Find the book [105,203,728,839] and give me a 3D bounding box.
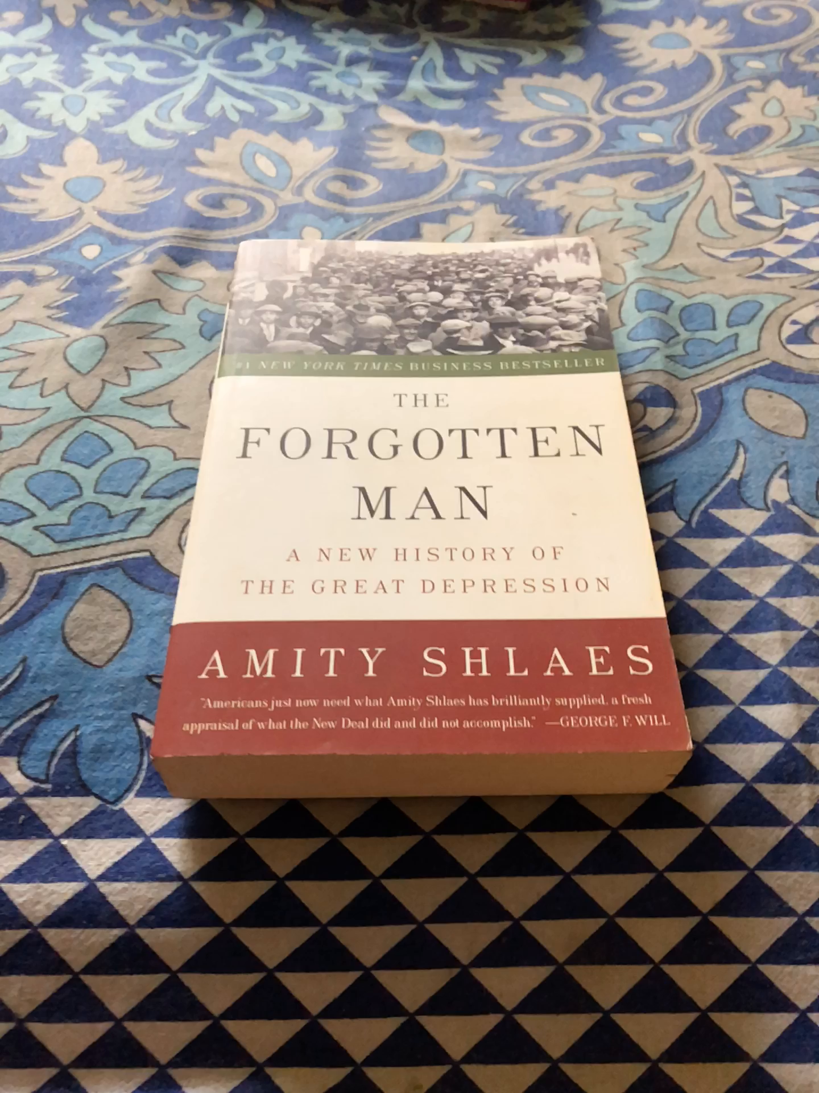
[{"bbox_3d":[-0.002,-0.021,0.281,0.140,0.050,0.201,-1,57,-2],"label":"book"}]
